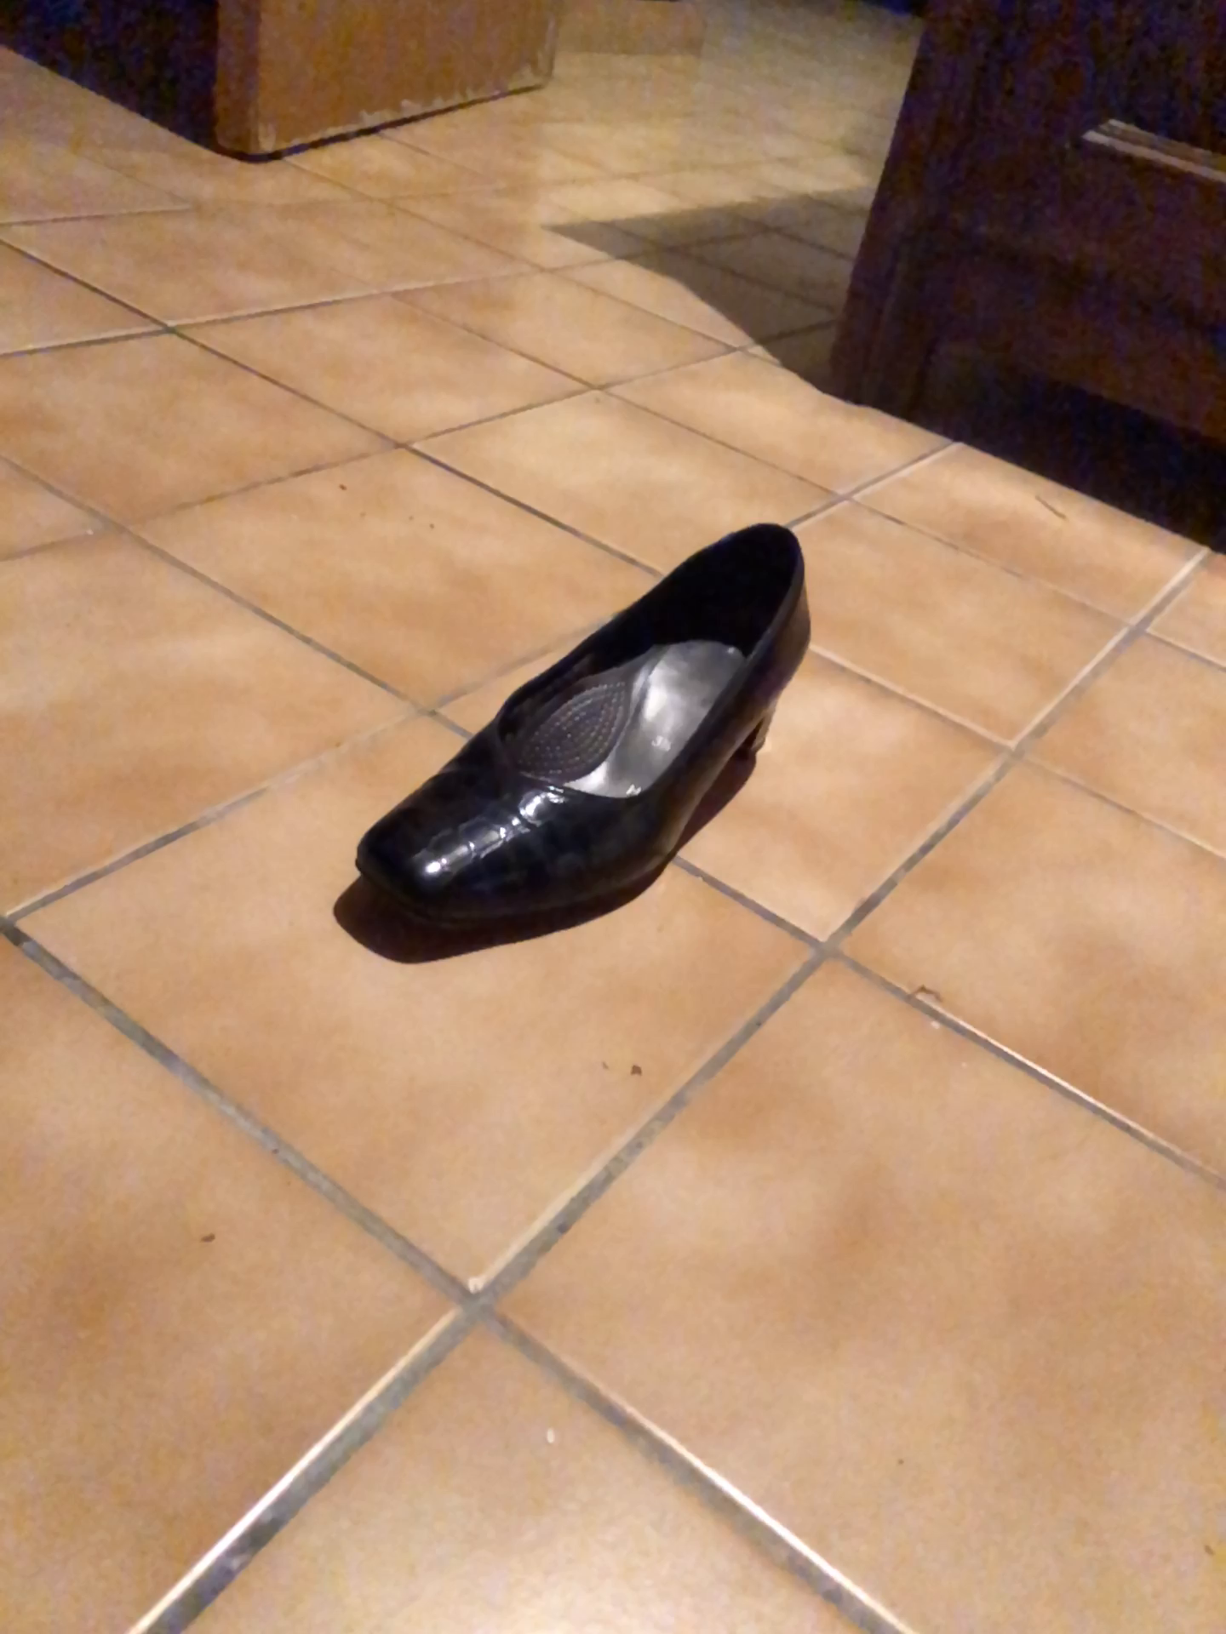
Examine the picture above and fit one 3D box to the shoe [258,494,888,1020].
[{"bbox_3d":[-0.005,-0.040,0.526,0.100,0.089,0.252,31,39,23],"label":"shoe"}]
